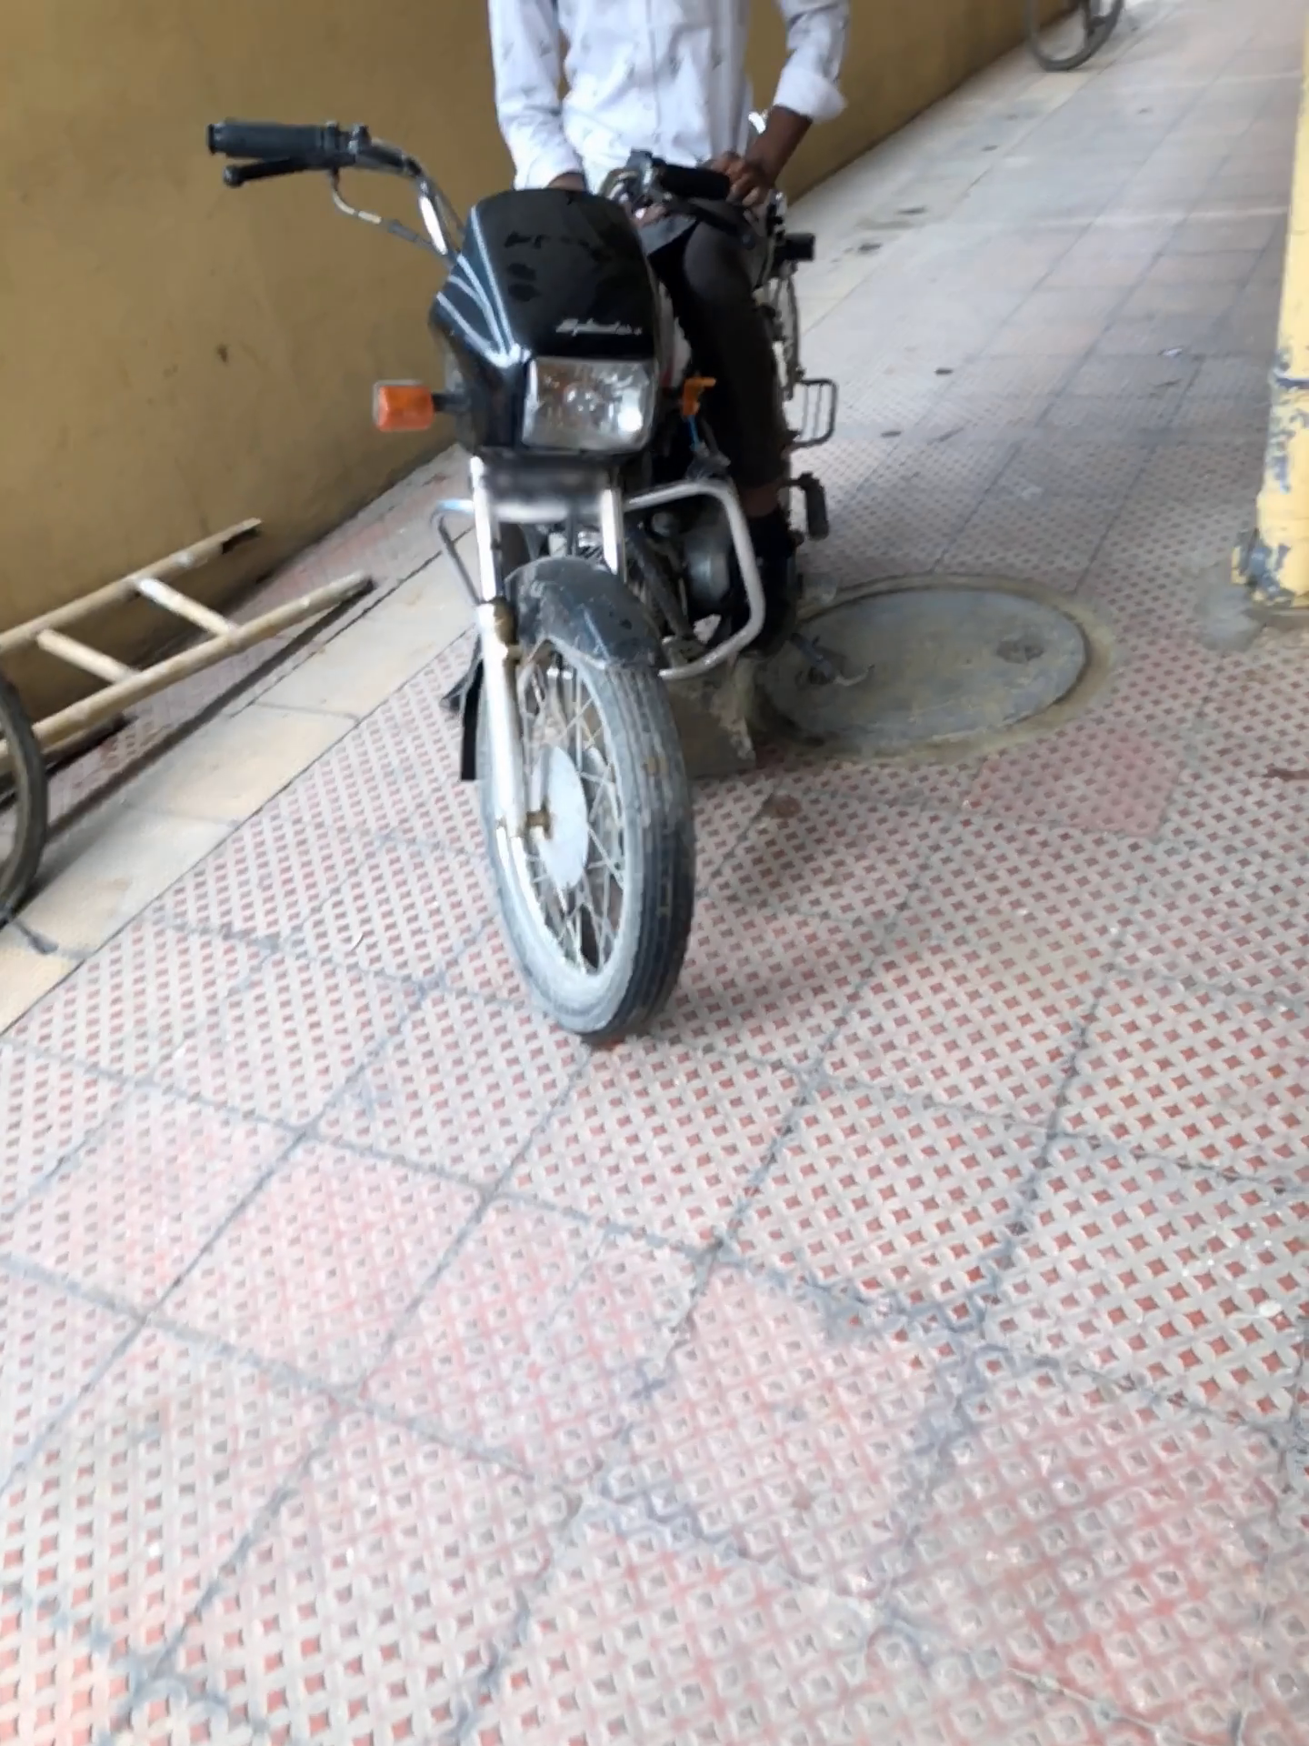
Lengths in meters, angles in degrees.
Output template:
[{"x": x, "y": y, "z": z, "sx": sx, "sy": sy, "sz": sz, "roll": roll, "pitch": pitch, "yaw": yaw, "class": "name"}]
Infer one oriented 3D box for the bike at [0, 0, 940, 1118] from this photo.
[{"x": -0.009, "y": -0.615, "z": 2.061, "sx": 0.759, "sy": 0.974, "sz": 1.607, "roll": -1, "pitch": 39, "yaw": 14, "class": "bike"}]
